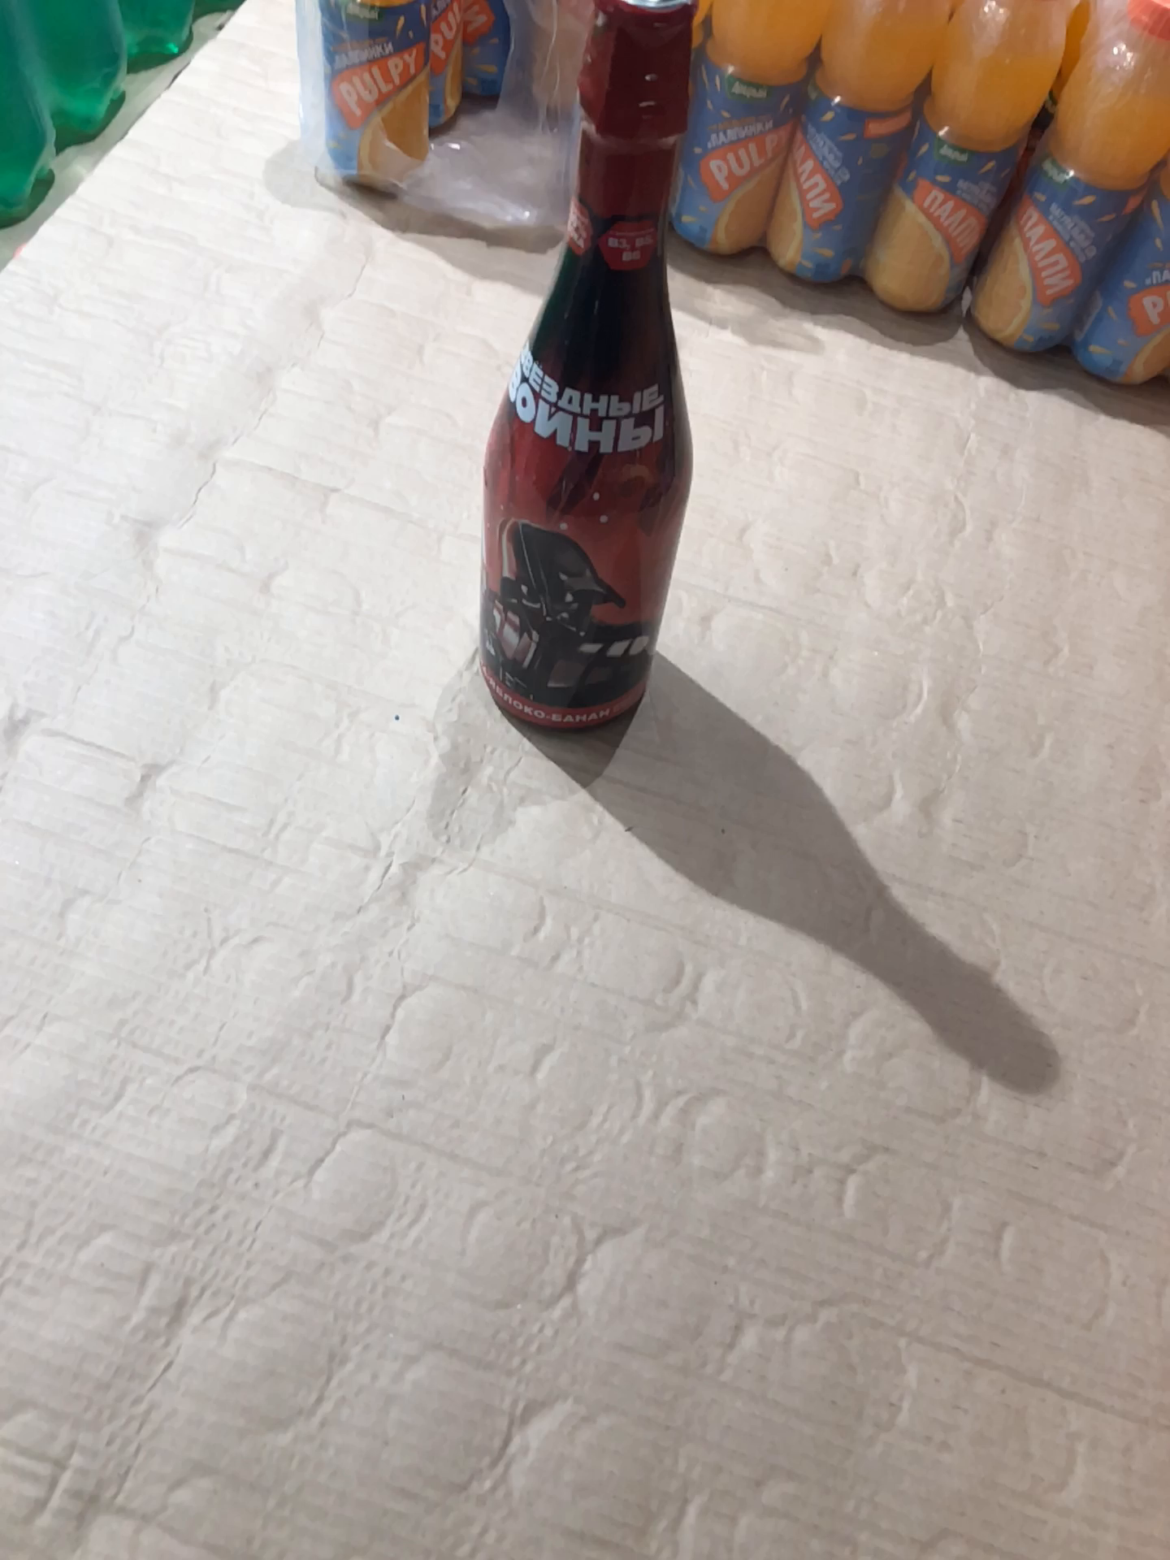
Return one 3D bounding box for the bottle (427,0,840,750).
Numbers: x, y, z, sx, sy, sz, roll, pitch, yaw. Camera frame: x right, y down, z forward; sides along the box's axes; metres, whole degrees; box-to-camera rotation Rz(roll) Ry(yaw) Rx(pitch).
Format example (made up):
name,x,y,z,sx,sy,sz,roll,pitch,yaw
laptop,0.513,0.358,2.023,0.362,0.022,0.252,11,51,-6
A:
name,x,y,z,sx,sy,sz,roll,pitch,yaw
bottle,0.001,-0.131,0.449,0.086,0.279,0.085,3,59,-5
